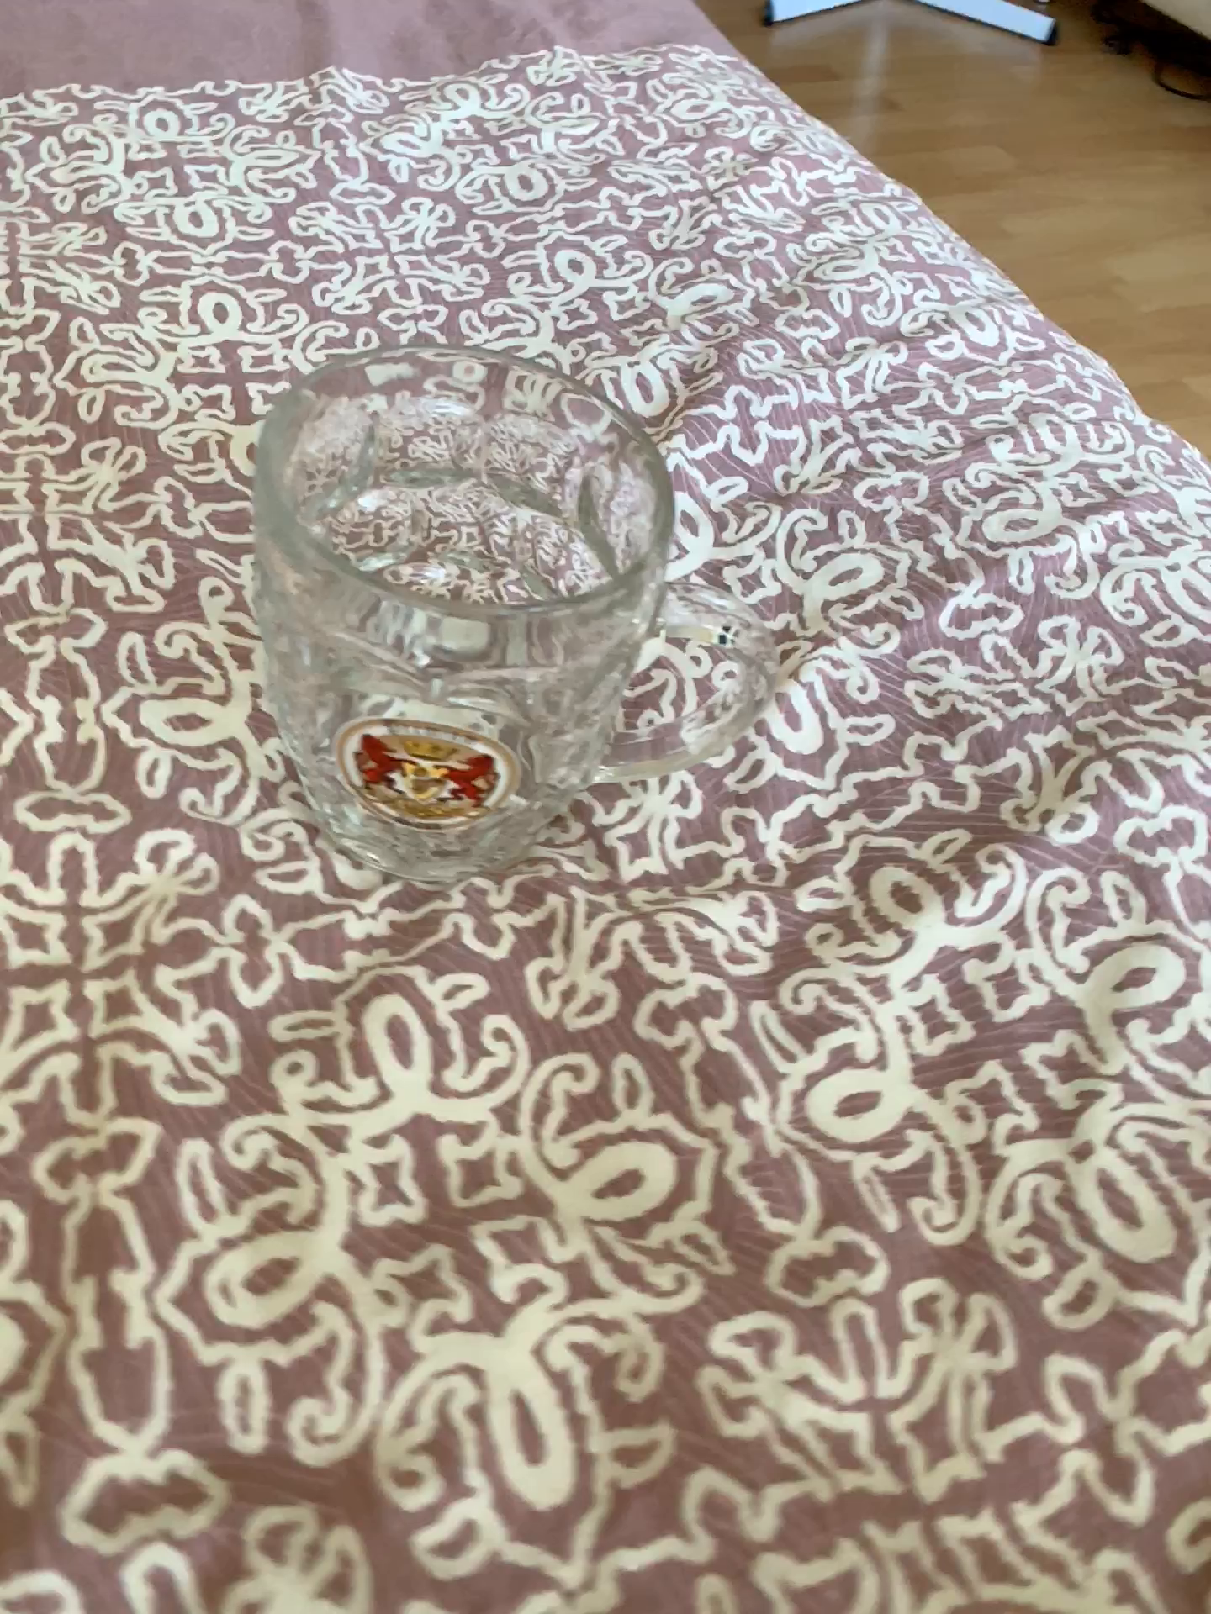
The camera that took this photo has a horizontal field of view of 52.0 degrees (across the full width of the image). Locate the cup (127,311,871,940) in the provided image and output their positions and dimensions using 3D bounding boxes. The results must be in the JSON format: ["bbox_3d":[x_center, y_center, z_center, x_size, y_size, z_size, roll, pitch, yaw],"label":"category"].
[{"bbox_3d":[-0.021,-0.037,0.288,0.130,0.109,0.091,1,53,-3],"label":"cup"}]
